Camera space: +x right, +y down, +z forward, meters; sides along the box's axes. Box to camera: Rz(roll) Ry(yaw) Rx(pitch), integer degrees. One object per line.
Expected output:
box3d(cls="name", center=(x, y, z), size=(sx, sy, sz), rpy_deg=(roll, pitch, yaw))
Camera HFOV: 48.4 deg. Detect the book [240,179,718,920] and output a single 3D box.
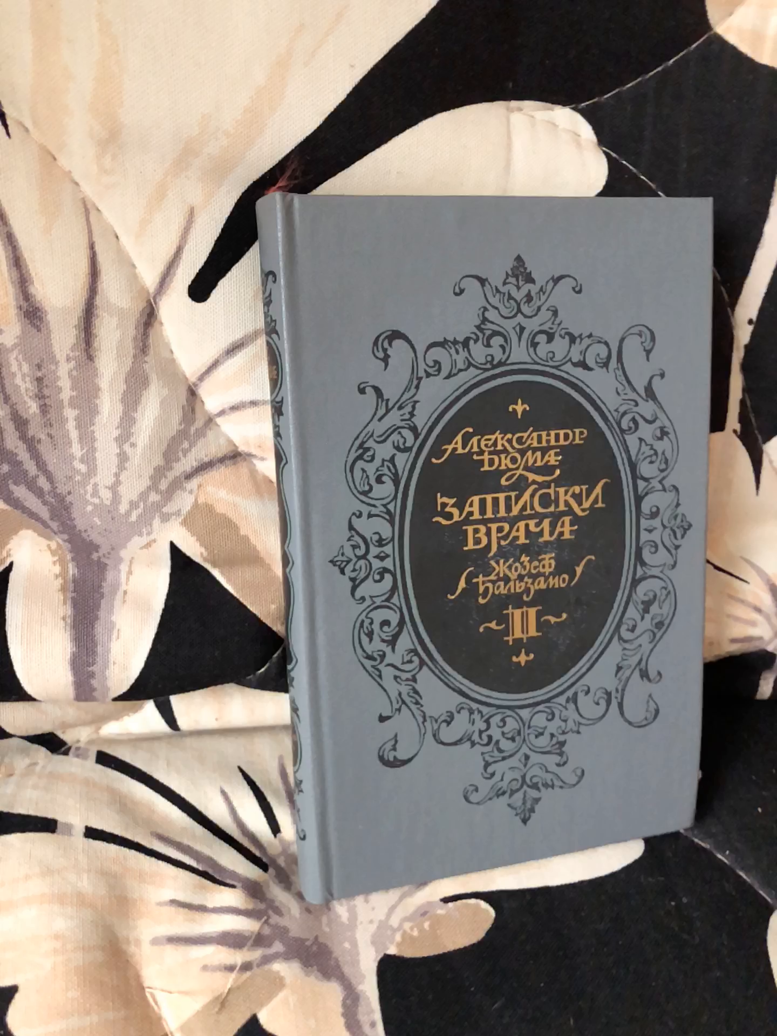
box3d(cls="book", center=(0.032, 0.008, 0.274), size=(0.140, 0.030, 0.210), rpy_deg=(-5, 100, -16))
